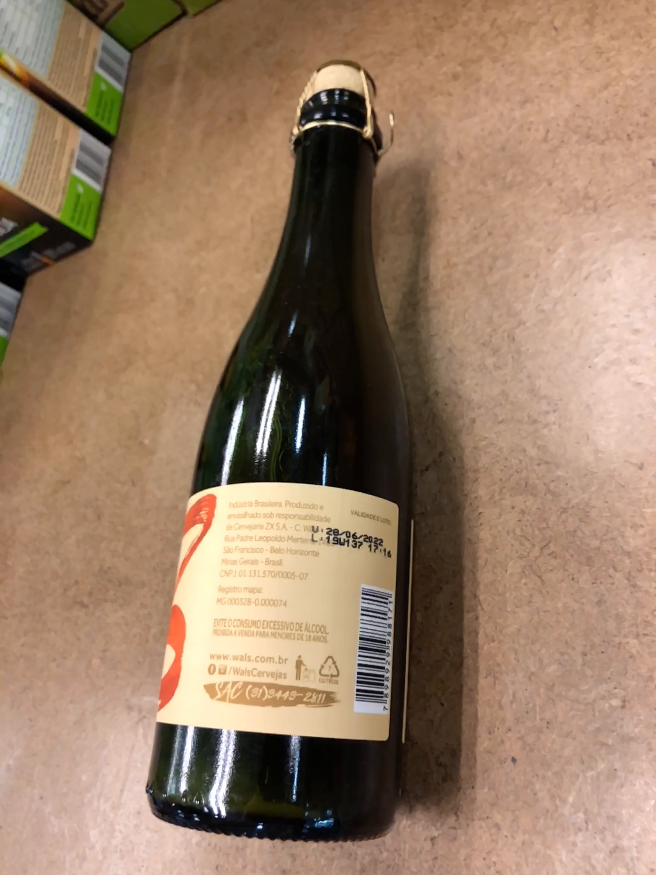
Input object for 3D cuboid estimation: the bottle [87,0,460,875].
[{"bbox_3d":[-0.005,-0.027,0.227,0.070,0.050,0.270,-10,65,34],"label":"bottle"}]
